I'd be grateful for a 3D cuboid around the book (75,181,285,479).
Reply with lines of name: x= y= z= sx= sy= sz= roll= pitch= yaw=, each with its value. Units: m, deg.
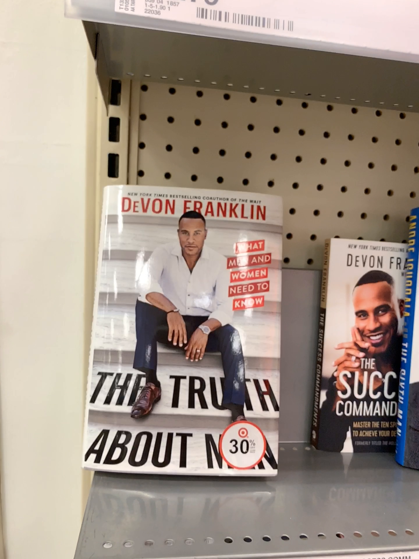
book: x=-0.020 y=0.040 z=0.379 sx=0.160 sy=0.237 sz=0.040 roll=3 pitch=-9 yaw=-4
